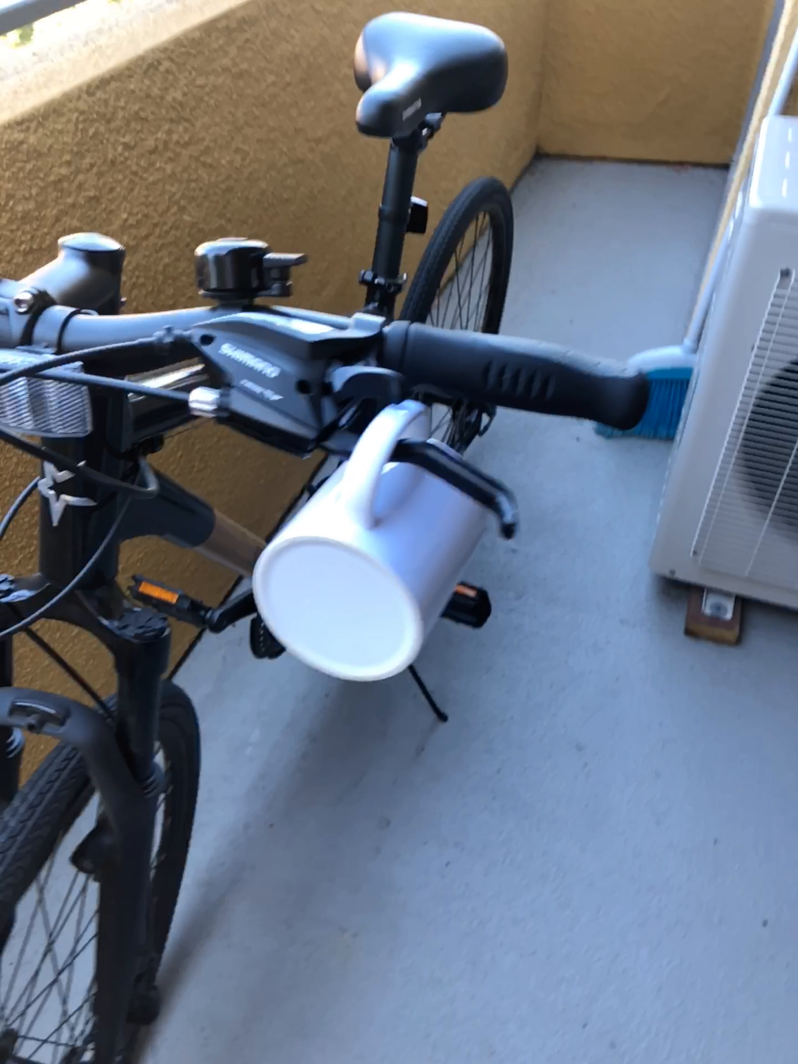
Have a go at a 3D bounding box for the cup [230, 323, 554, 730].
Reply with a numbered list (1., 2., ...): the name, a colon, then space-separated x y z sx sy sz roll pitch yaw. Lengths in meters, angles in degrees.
1. cup: -0.005 -0.006 0.413 0.090 0.119 0.120 25 44 16
